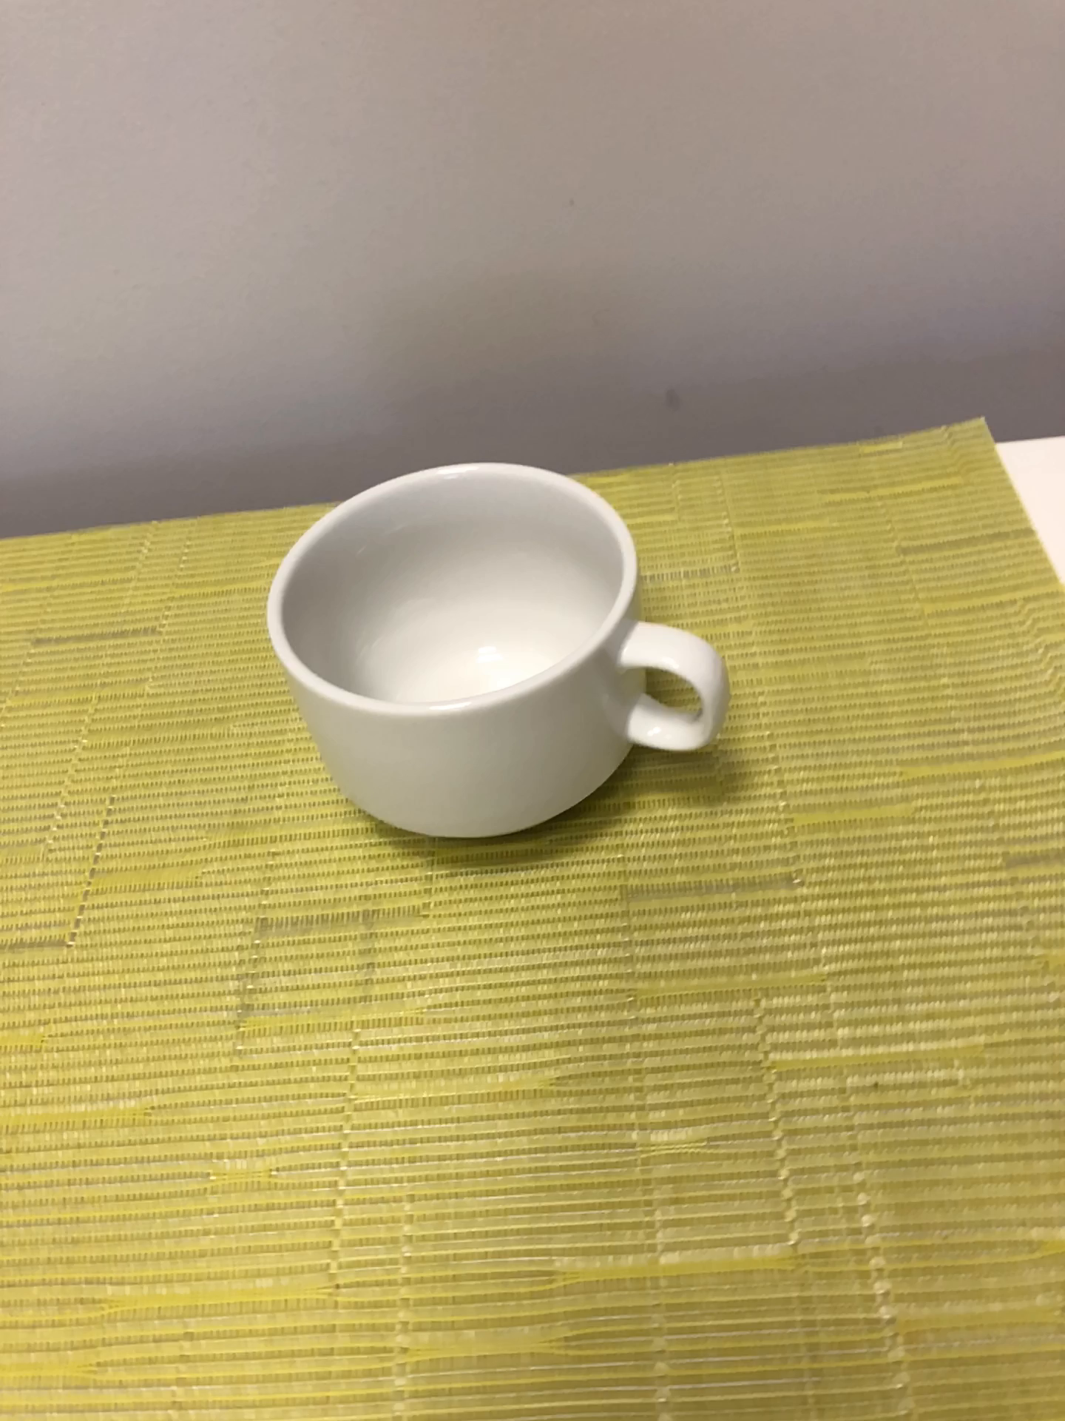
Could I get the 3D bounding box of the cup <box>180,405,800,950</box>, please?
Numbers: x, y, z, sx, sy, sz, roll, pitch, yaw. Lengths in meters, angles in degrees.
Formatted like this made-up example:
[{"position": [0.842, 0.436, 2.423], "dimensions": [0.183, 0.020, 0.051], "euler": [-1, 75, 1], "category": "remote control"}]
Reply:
[{"position": [-0.007, -0.014, 0.285], "dimensions": [0.110, 0.057, 0.086], "euler": [23, 54, 28], "category": "cup"}]
